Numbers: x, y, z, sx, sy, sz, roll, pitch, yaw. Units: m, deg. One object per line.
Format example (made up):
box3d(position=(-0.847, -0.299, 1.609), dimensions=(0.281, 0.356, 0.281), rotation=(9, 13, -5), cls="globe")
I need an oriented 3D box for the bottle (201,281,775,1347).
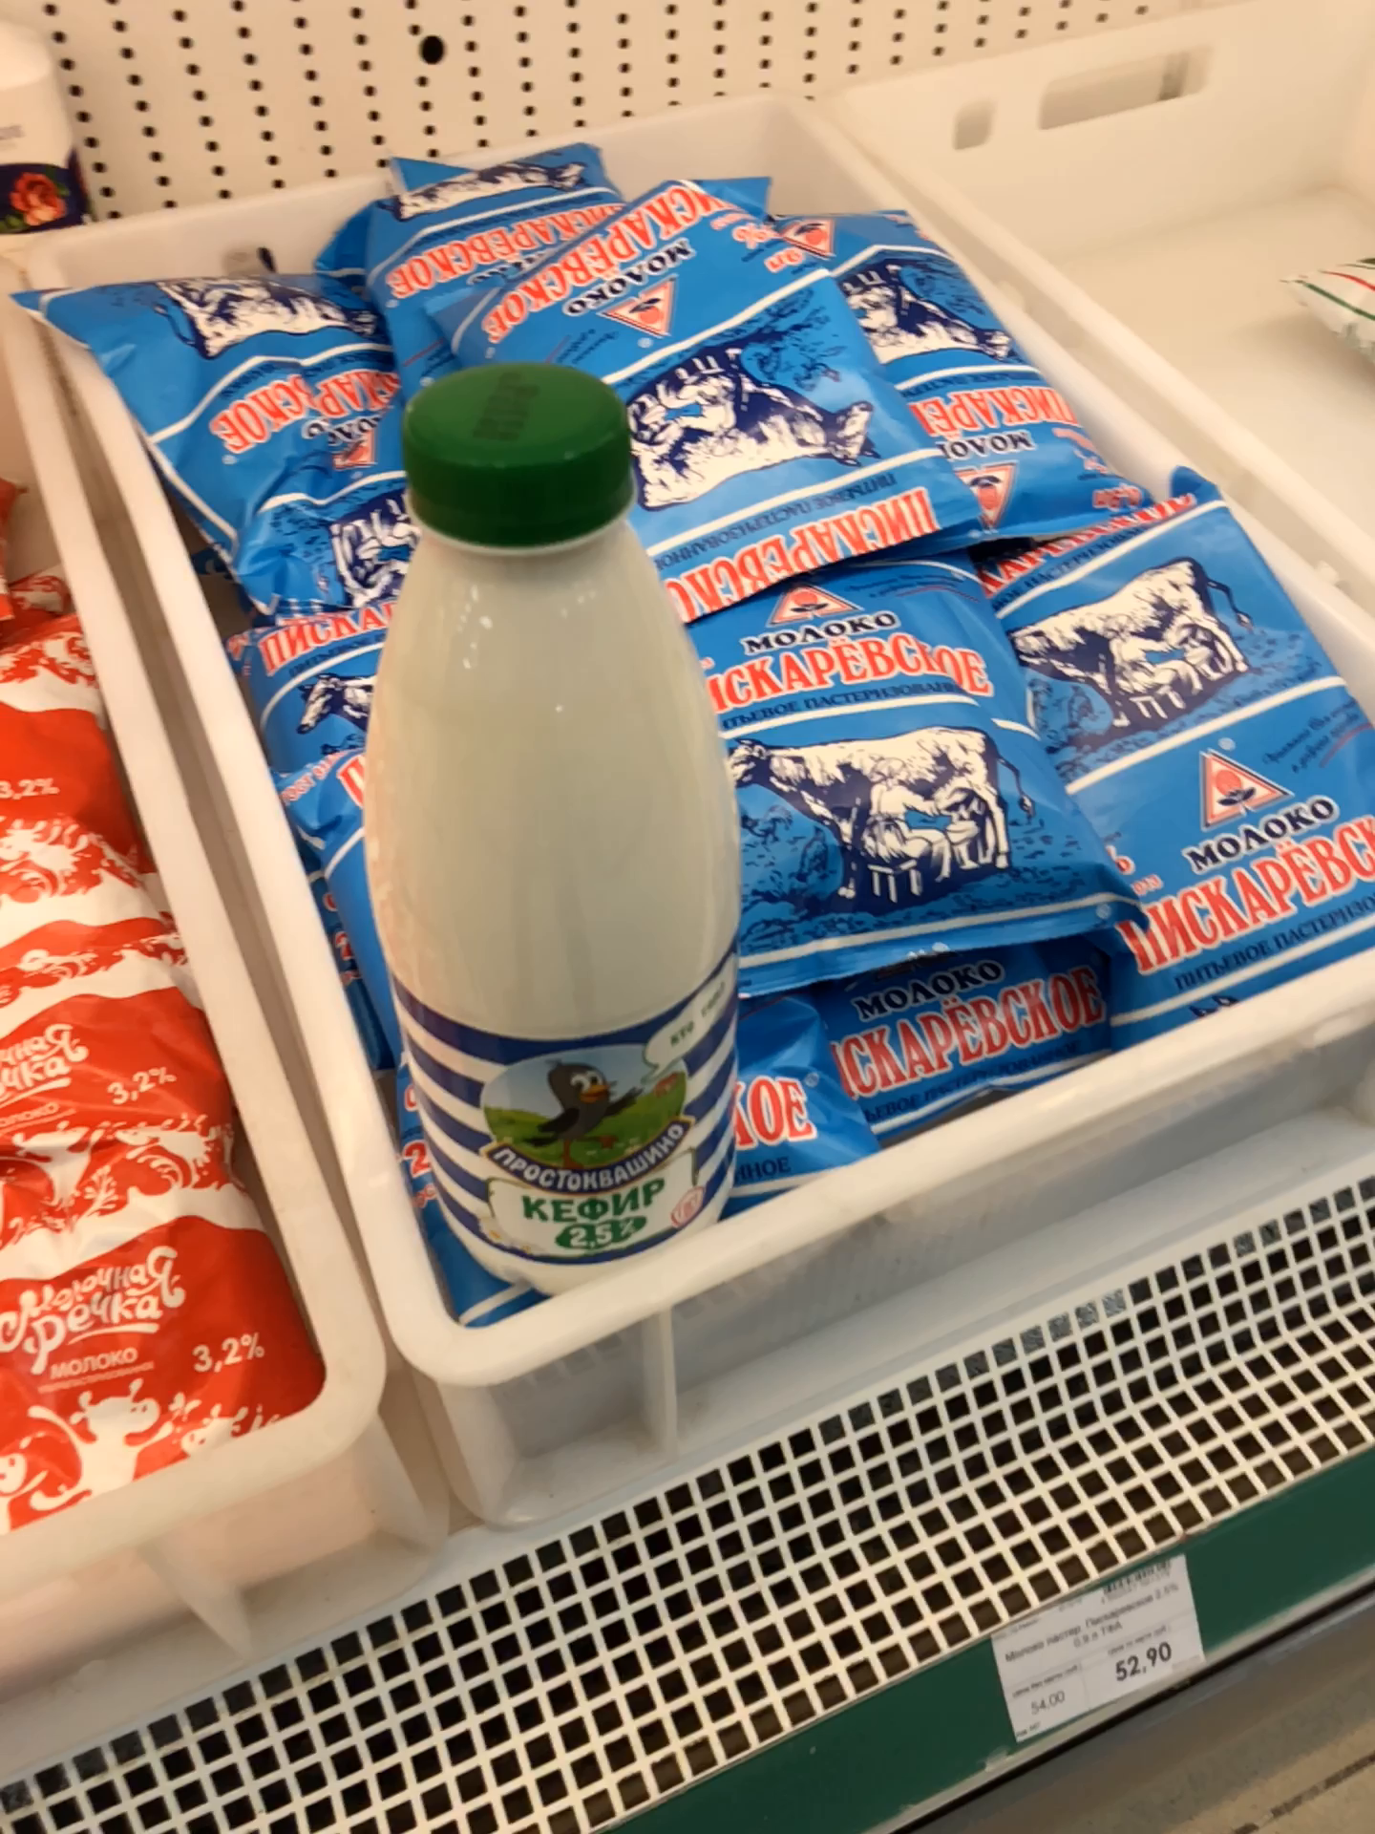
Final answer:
box3d(position=(-0.033, -0.006, 0.329), dimensions=(0.083, 0.224, 0.080), rotation=(-1, 47, 1), cls="bottle")
